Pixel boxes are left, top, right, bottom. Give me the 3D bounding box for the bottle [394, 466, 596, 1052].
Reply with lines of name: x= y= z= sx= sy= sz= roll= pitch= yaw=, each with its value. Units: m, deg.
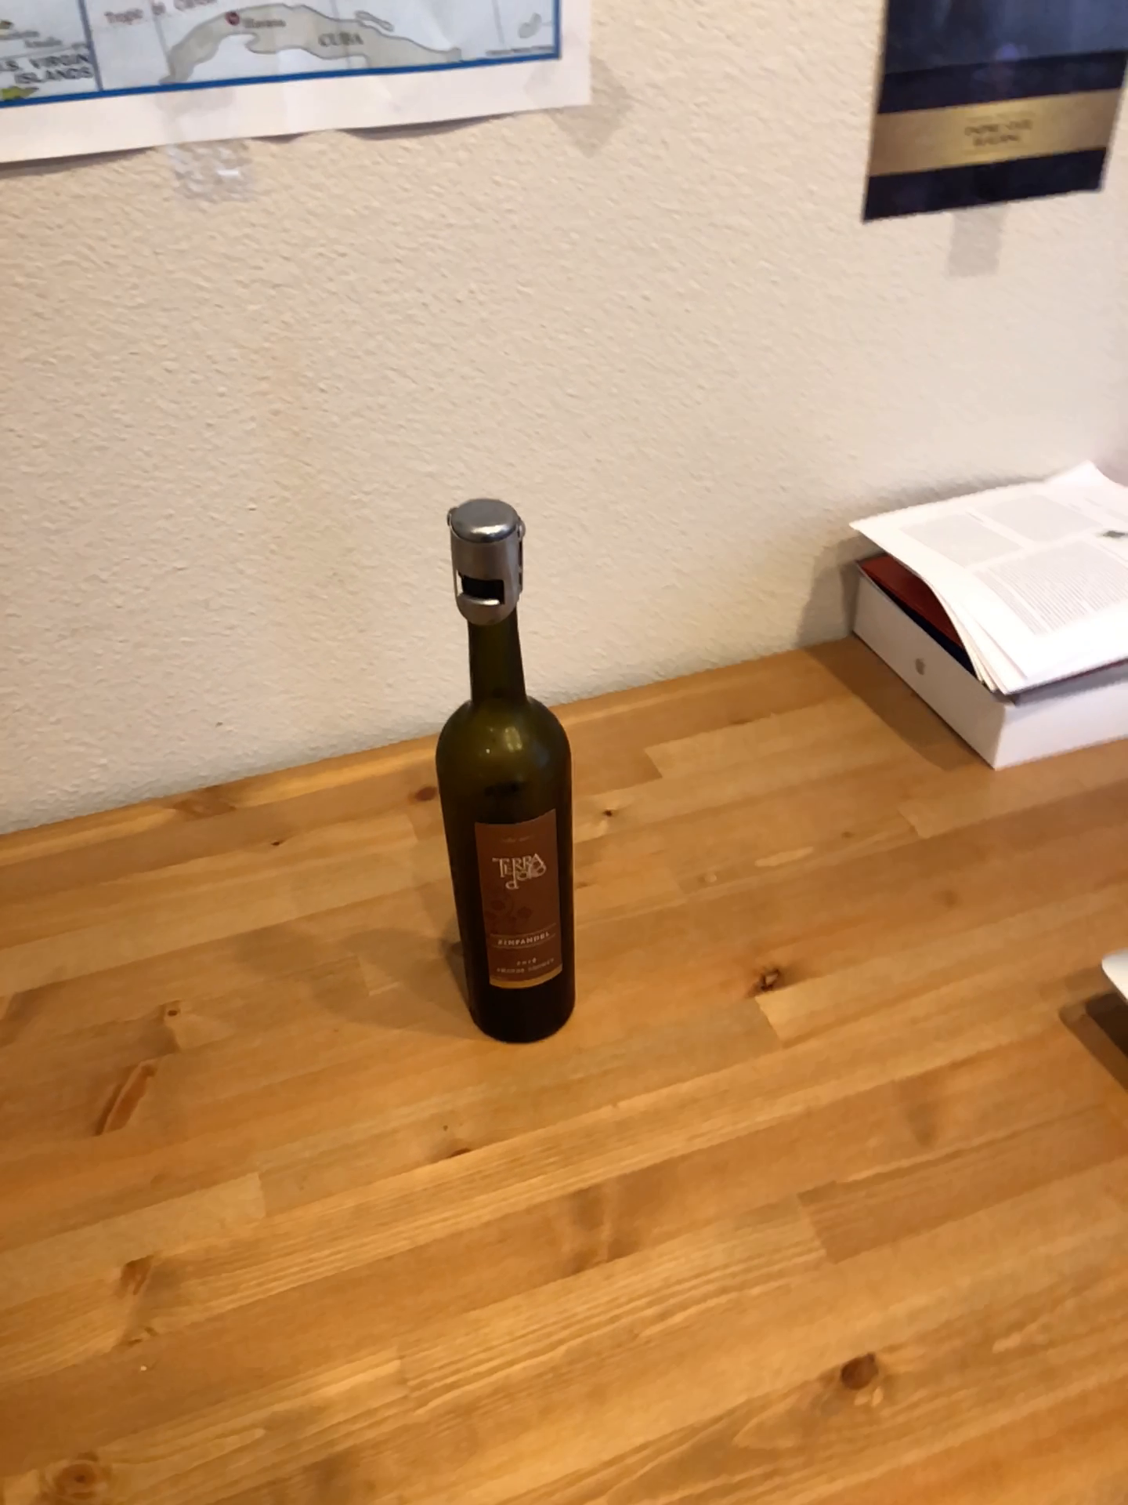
bottle: x=-0.033 y=0.020 z=0.713 sx=0.080 sy=0.349 sz=0.080 roll=-2 pitch=37 yaw=2
